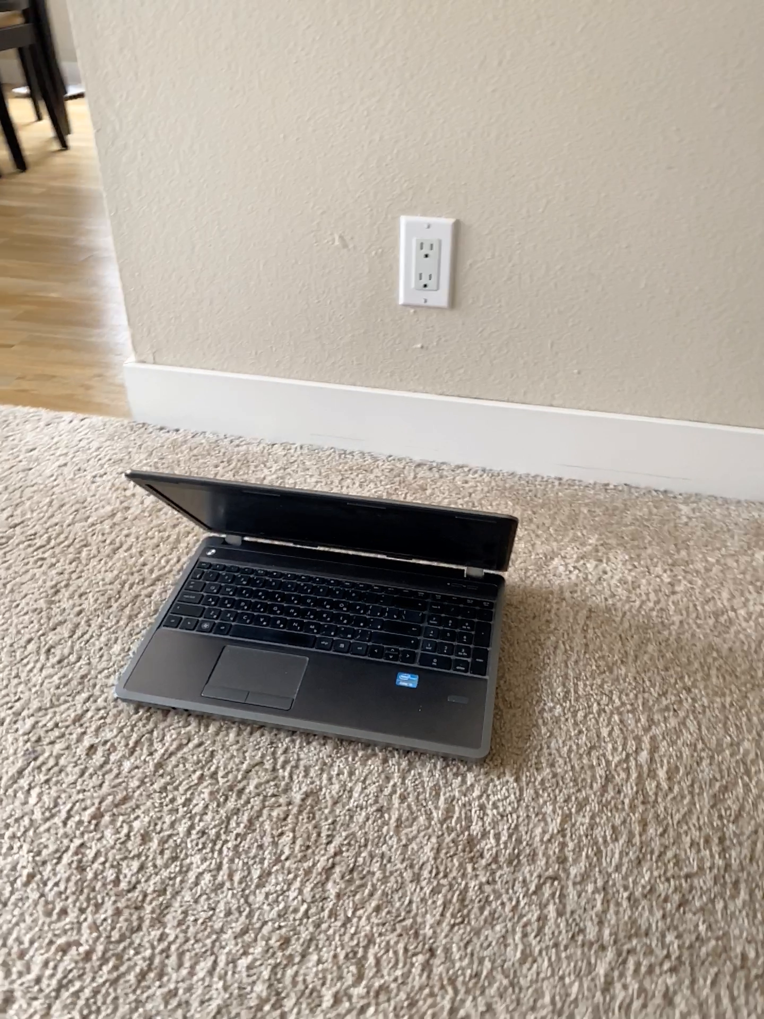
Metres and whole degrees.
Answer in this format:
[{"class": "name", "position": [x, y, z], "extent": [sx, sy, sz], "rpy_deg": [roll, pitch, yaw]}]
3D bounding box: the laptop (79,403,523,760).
[{"class": "laptop", "position": [-0.059, 0.057, 0.791], "extent": [0.370, 0.189, 0.250], "rpy_deg": [7, 37, 8]}]
